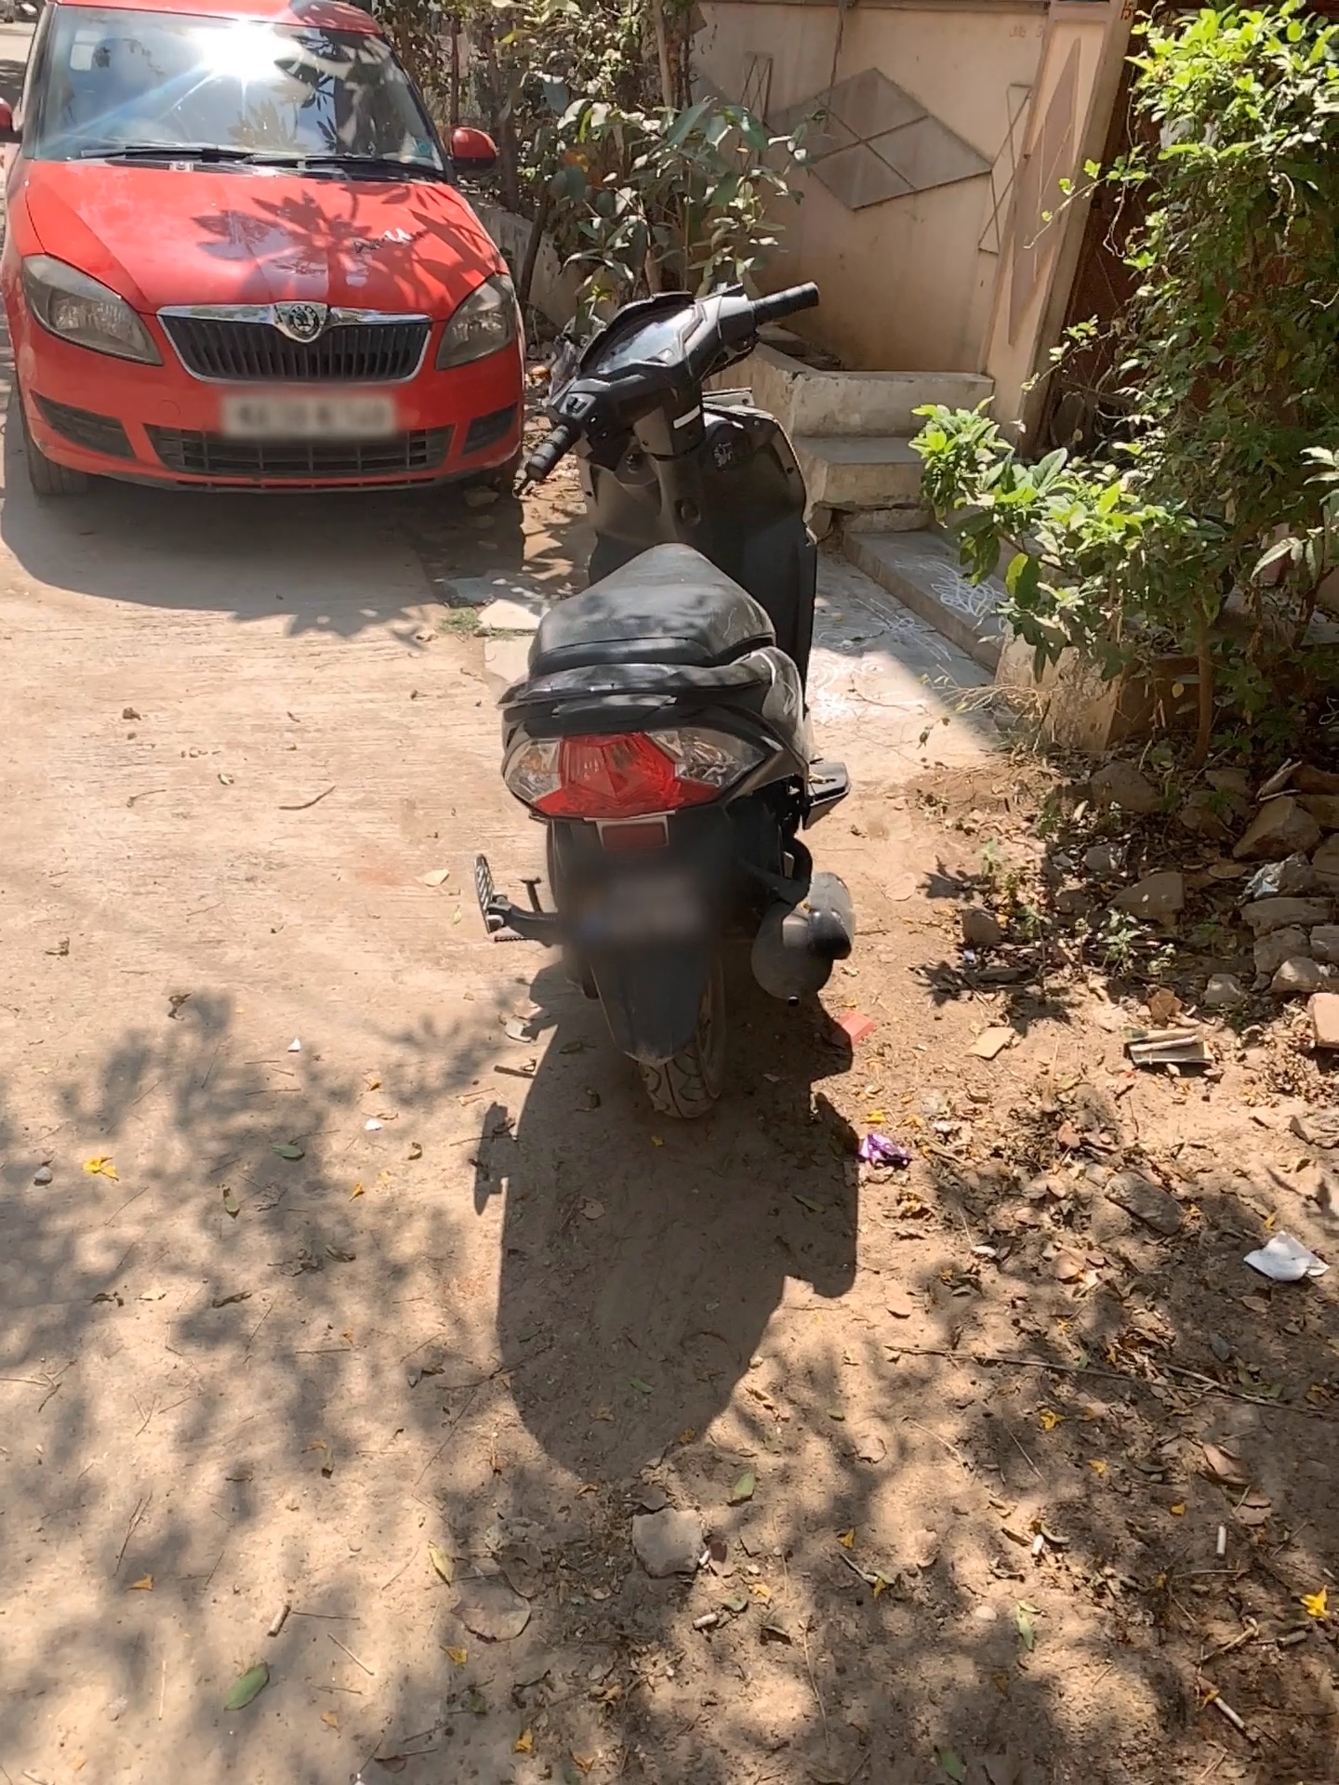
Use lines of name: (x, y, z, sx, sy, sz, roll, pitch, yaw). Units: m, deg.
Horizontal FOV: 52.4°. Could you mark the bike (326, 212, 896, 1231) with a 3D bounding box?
bike: (-0.154, -0.437, 2.433, 0.624, 1.175, 1.535, 4, 32, -4)
